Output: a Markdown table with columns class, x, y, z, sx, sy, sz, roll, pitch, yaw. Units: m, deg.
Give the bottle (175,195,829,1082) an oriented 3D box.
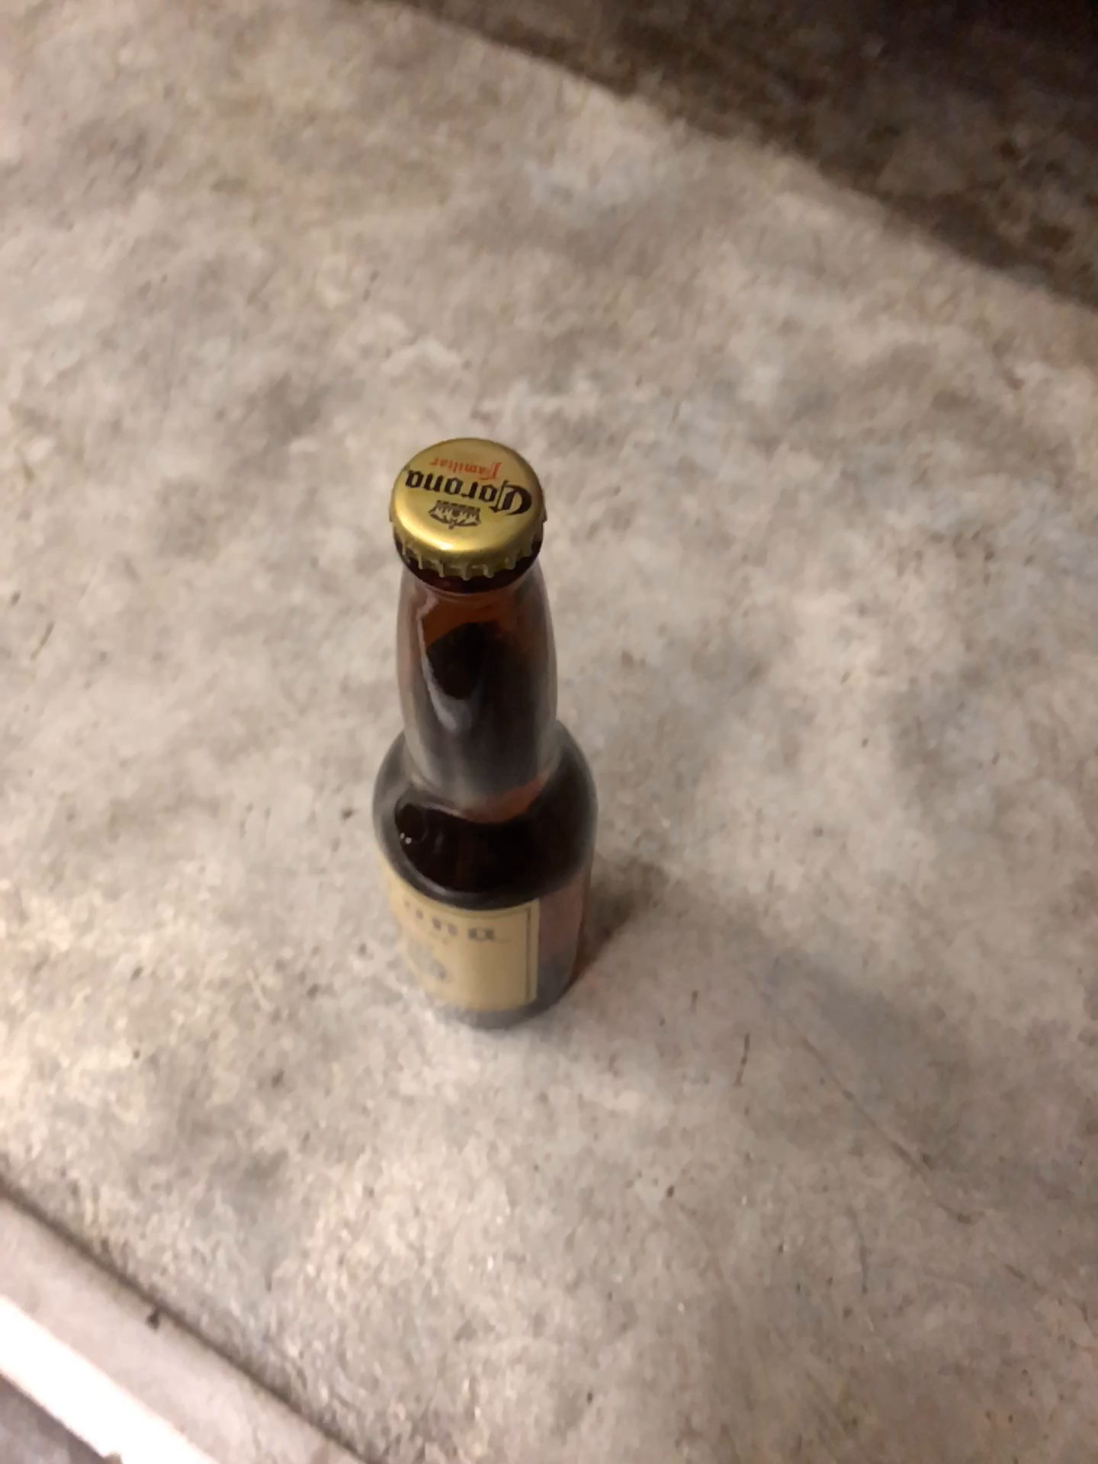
| class | x | y | z | sx | sy | sz | roll | pitch | yaw |
| --- | --- | --- | --- | --- | --- | --- | --- | --- | --- |
| bottle | -0.009 | 0.004 | 0.279 | 0.070 | 0.217 | 0.070 | 0 | 61 | 0 |
